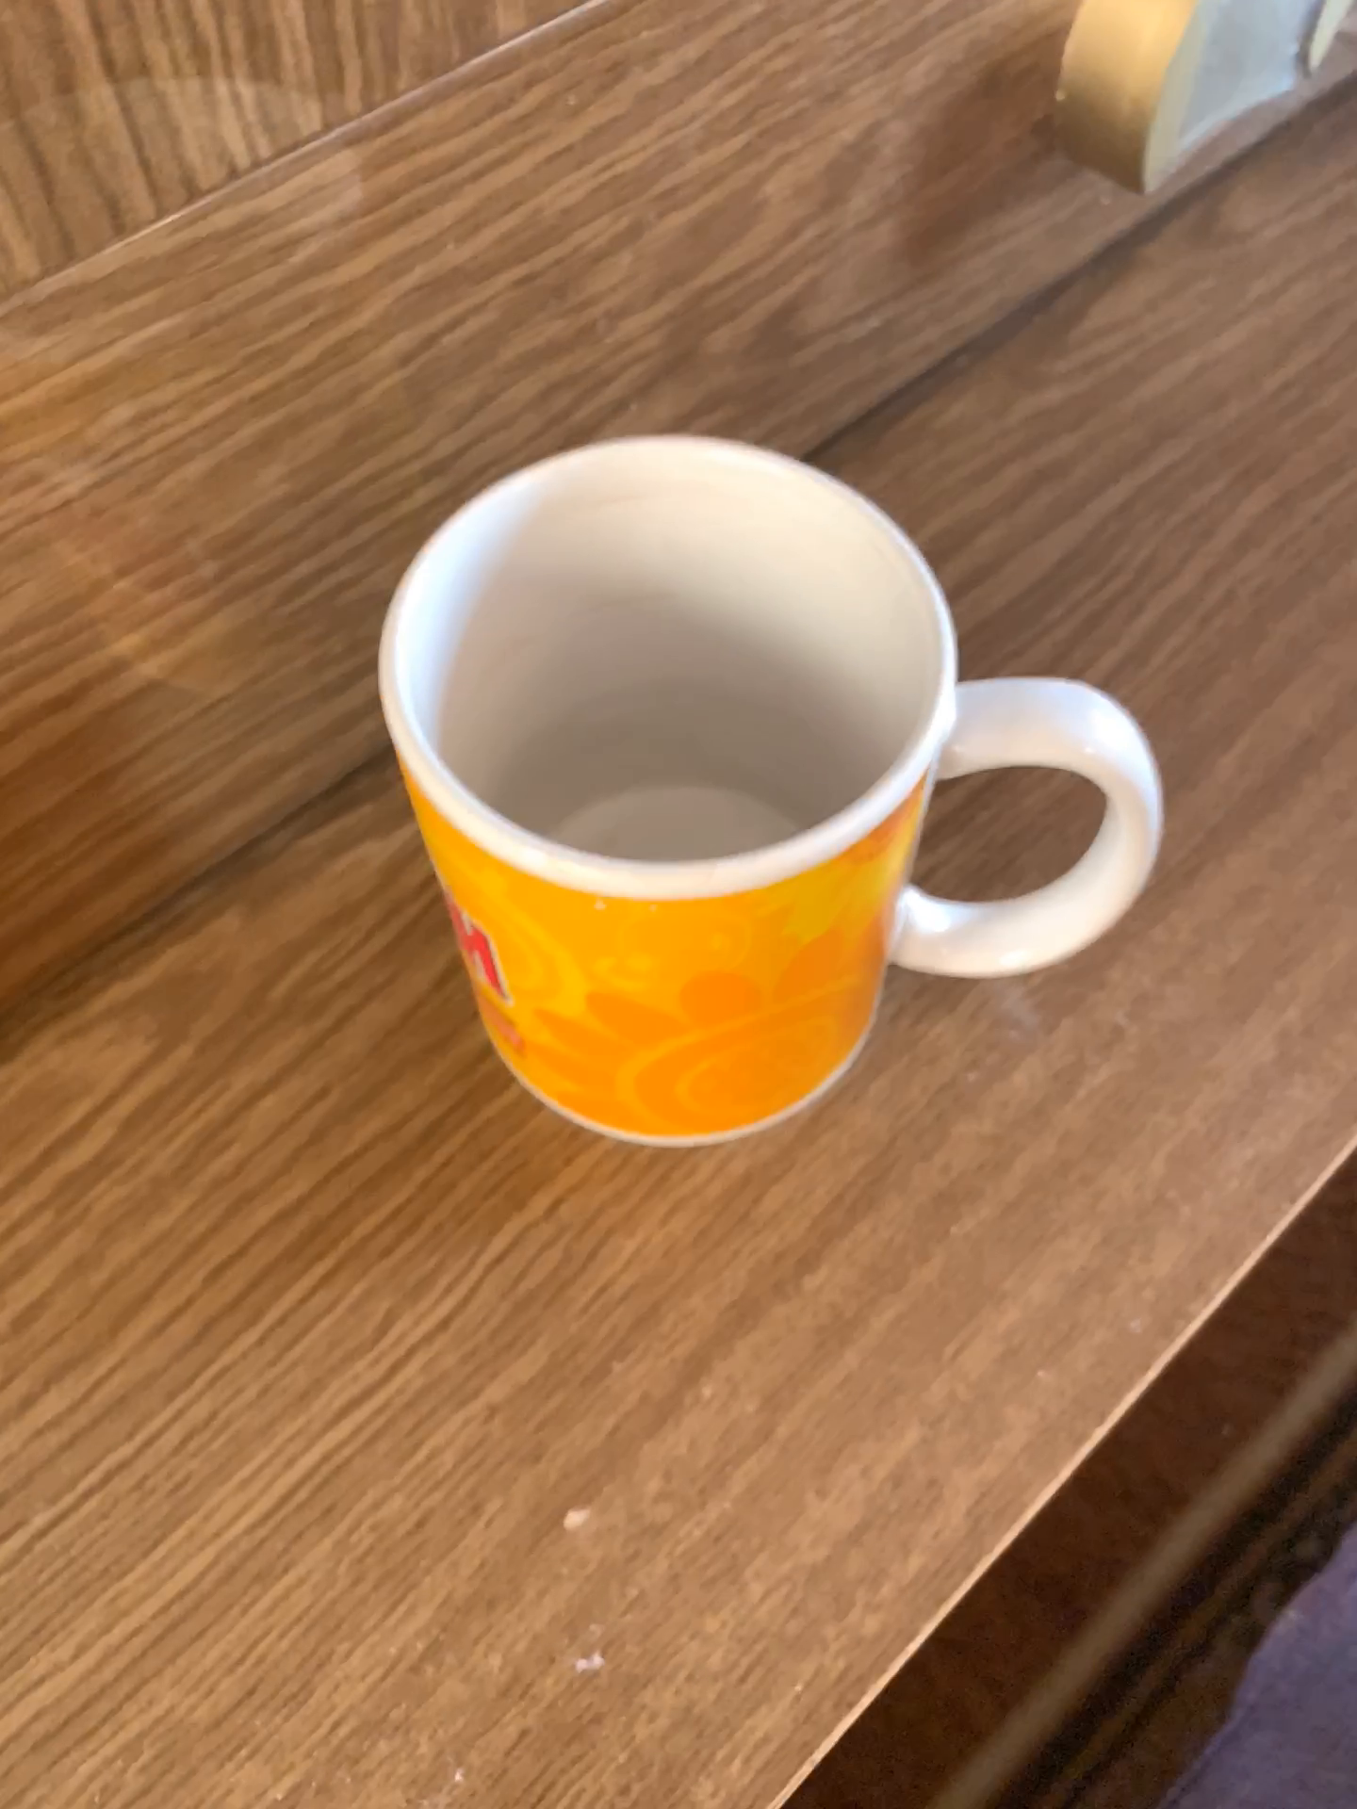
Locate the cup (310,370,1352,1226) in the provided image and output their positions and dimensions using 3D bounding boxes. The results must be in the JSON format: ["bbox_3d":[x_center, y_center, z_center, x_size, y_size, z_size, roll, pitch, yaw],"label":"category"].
[{"bbox_3d":[0.022,-0.013,0.234,0.123,0.097,0.091,5,60,3],"label":"cup"}]
